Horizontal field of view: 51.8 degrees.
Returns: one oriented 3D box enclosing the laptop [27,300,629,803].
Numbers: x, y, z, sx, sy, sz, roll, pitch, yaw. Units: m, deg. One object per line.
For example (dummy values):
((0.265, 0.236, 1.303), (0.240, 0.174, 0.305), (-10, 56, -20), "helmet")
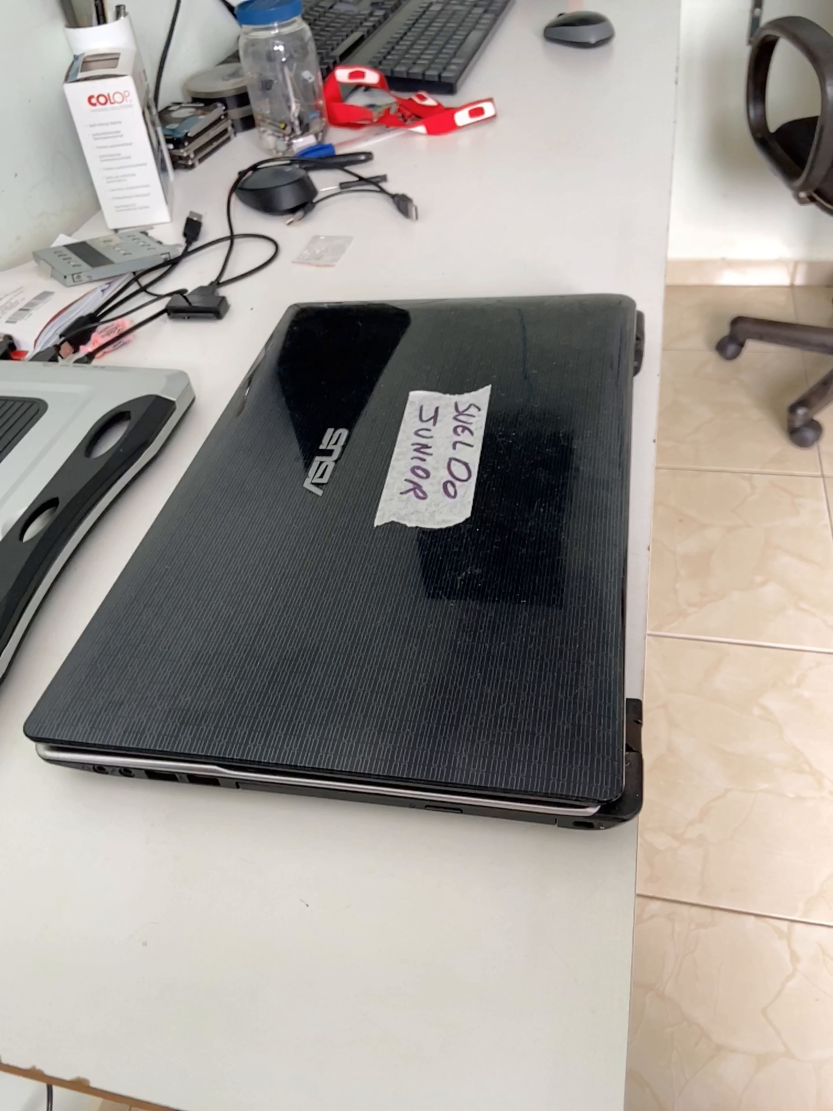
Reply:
((-0.011, -0.046, 0.453), (0.236, 0.001, 0.365), (3, 44, 13), "laptop")
